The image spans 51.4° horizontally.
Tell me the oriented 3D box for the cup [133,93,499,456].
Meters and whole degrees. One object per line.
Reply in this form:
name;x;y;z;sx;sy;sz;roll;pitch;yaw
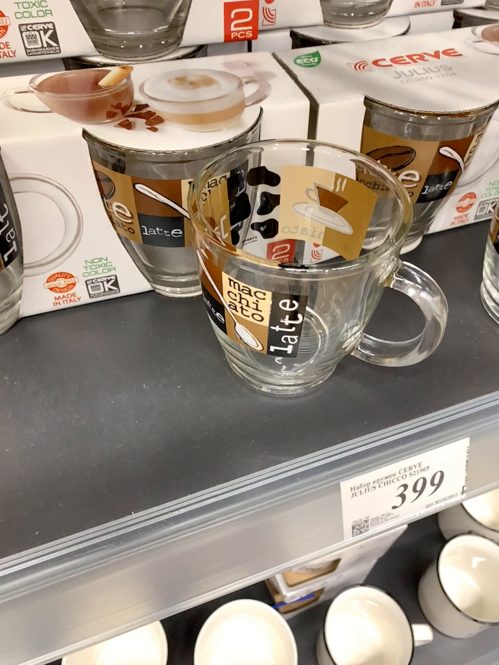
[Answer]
cup;0.028;-0.029;0.226;0.118;0.086;0.084;29;54;21
